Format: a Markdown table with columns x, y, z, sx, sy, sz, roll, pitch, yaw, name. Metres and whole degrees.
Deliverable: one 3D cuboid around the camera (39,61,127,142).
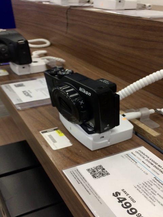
| x | y | z | sx | sy | sz | roll | pitch | yaw | name |
| --- | --- | --- | --- | --- | --- | --- | --- | --- | --- |
| -0.001 | -0.014 | 0.297 | 0.039 | 0.073 | 0.119 | -30 | 41 | -28 | camera |
